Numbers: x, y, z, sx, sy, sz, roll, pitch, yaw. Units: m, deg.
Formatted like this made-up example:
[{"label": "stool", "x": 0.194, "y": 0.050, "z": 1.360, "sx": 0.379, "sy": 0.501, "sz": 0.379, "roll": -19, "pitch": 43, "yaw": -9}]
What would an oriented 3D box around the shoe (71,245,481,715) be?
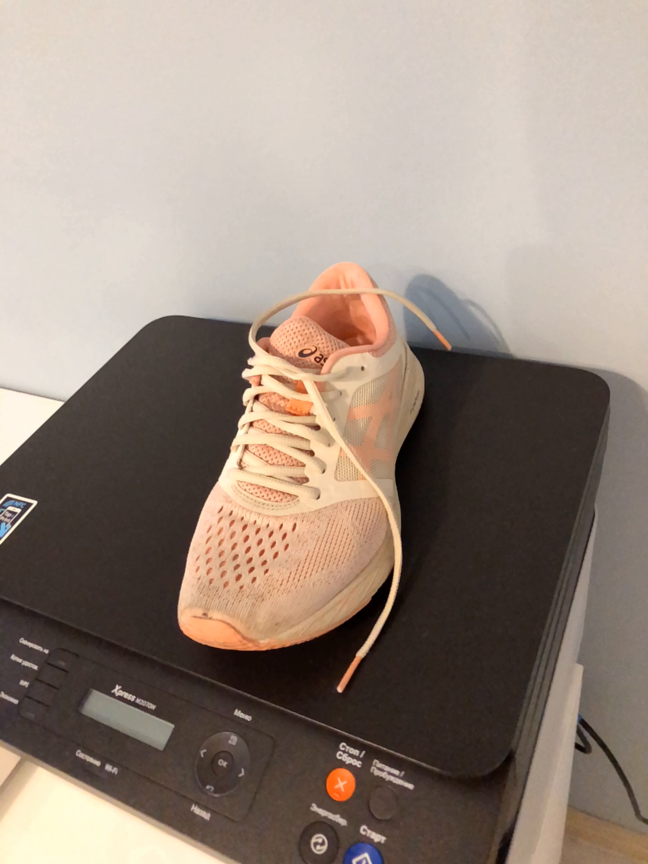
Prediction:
[{"label": "shoe", "x": -0.001, "y": 0.002, "z": 0.397, "sx": 0.116, "sy": 0.089, "sz": 0.254, "roll": 9, "pitch": 46, "yaw": 23}]
